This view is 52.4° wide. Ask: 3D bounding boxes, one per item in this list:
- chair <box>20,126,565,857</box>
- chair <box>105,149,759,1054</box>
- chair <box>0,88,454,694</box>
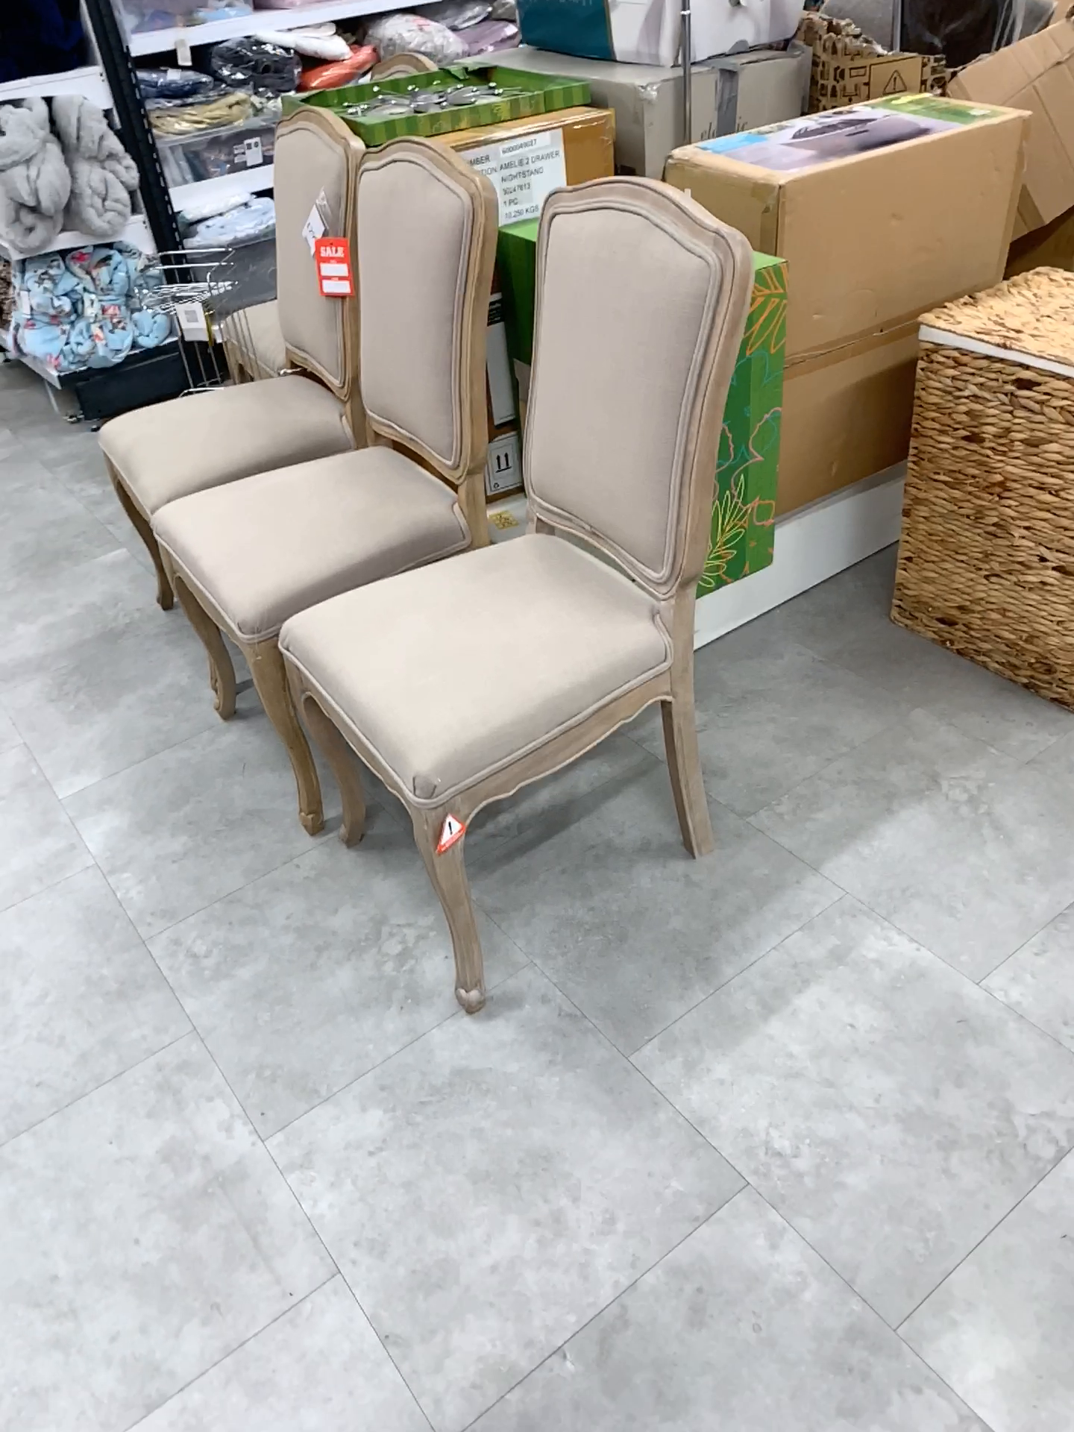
[{"bbox_3d":[-0.361,-0.379,1.827,0.546,0.973,0.510,-23,38,-22],"label":"chair"},{"bbox_3d":[-0.083,-0.162,1.483,0.547,0.973,0.510,-27,39,-25],"label":"chair"},{"bbox_3d":[-0.595,-0.659,2.205,0.546,0.973,0.510,-23,38,-22],"label":"chair"}]
